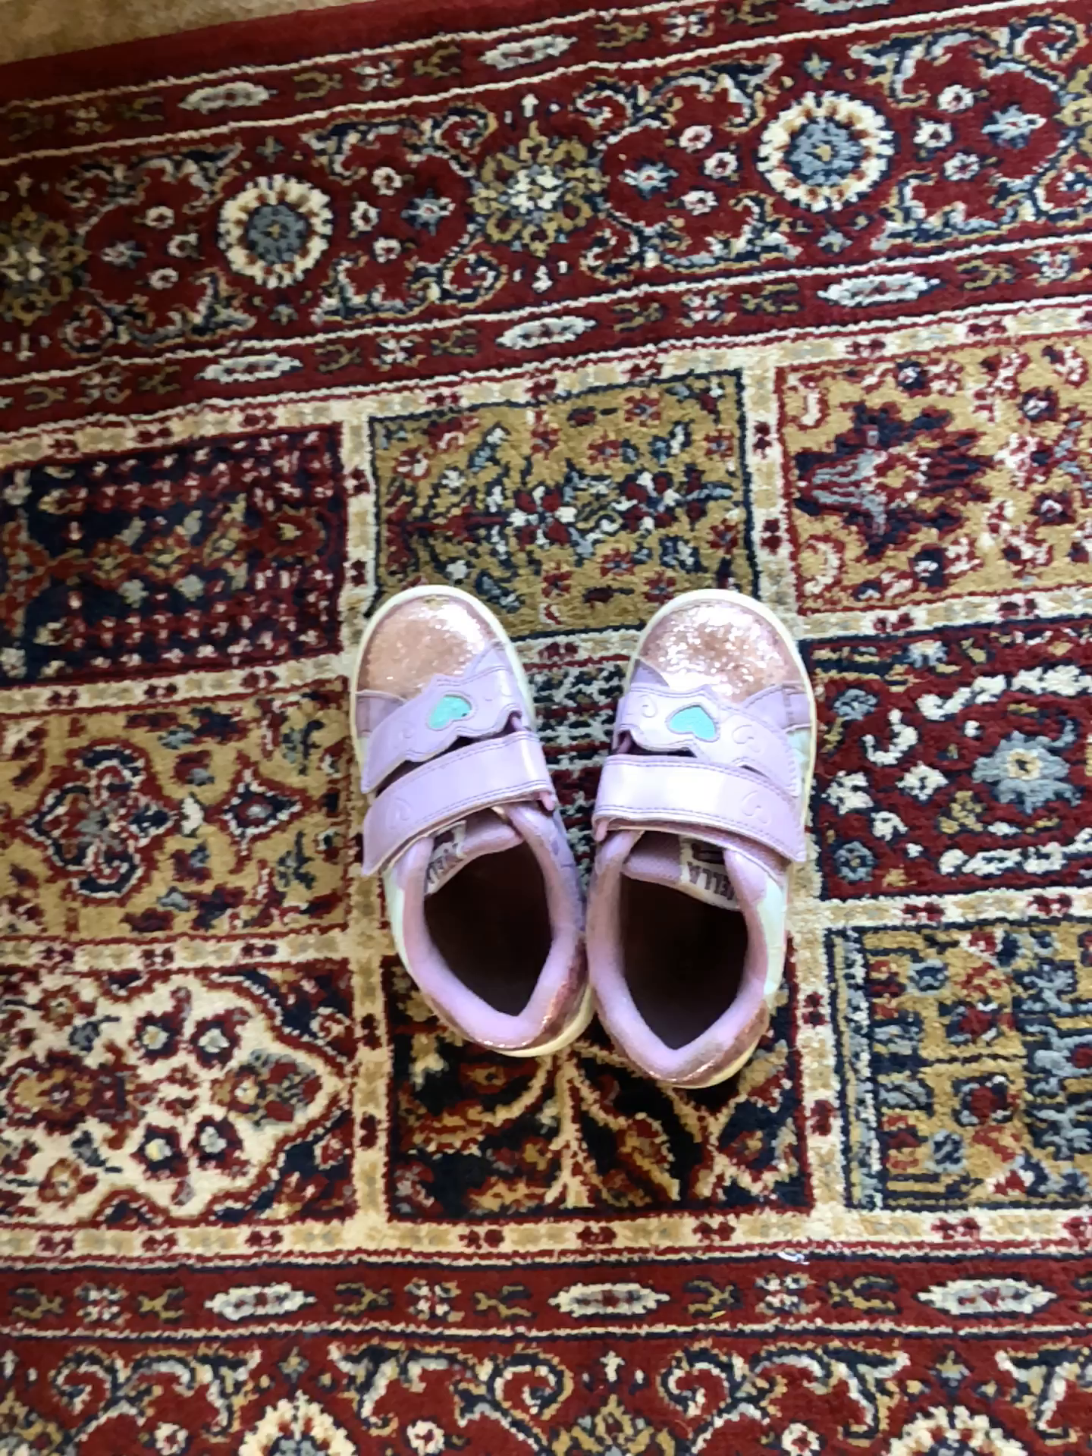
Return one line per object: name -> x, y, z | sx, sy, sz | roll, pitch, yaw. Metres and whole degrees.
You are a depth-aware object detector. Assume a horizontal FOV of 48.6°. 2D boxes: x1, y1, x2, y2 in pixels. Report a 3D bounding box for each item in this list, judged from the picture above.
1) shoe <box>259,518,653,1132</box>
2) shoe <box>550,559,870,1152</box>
shoe -> -0.033, 0.038, 0.488 | 0.090, 0.090, 0.209 | -17, 79, 7
shoe -> 0.066, 0.046, 0.467 | 0.100, 0.090, 0.200 | 3, 82, 10
